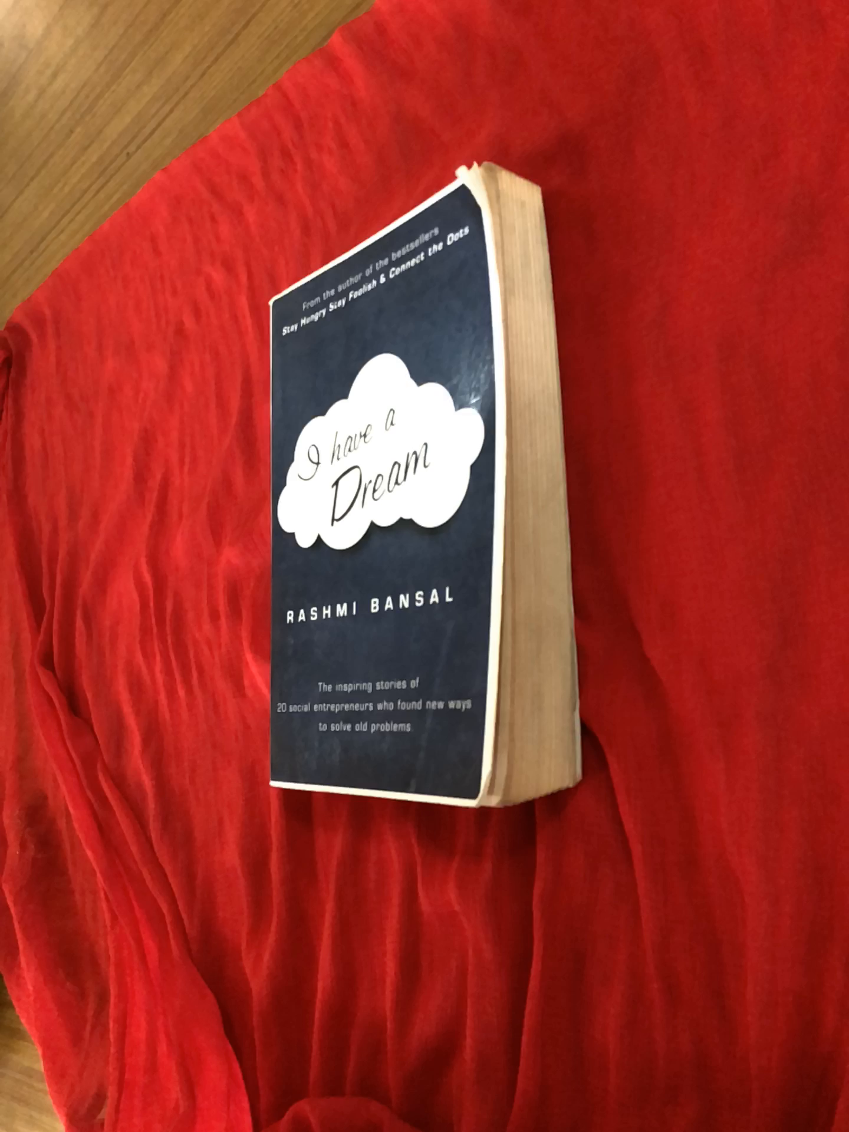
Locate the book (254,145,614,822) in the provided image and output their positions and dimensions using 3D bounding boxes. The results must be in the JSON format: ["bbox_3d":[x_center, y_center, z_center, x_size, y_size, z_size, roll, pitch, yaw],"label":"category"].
[{"bbox_3d":[-0.007,-0.017,0.325,0.141,0.040,0.190,-13,75,51],"label":"book"}]
